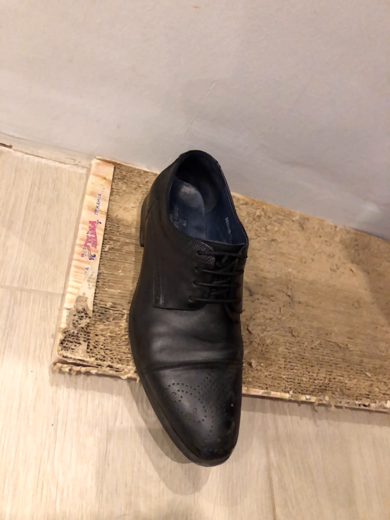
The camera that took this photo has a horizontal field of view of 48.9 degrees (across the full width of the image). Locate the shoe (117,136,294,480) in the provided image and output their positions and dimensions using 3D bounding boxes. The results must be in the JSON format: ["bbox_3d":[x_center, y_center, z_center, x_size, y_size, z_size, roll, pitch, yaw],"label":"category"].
[{"bbox_3d":[-0.007,0.036,0.392,0.090,0.099,0.281,5,61,-25],"label":"shoe"}]
